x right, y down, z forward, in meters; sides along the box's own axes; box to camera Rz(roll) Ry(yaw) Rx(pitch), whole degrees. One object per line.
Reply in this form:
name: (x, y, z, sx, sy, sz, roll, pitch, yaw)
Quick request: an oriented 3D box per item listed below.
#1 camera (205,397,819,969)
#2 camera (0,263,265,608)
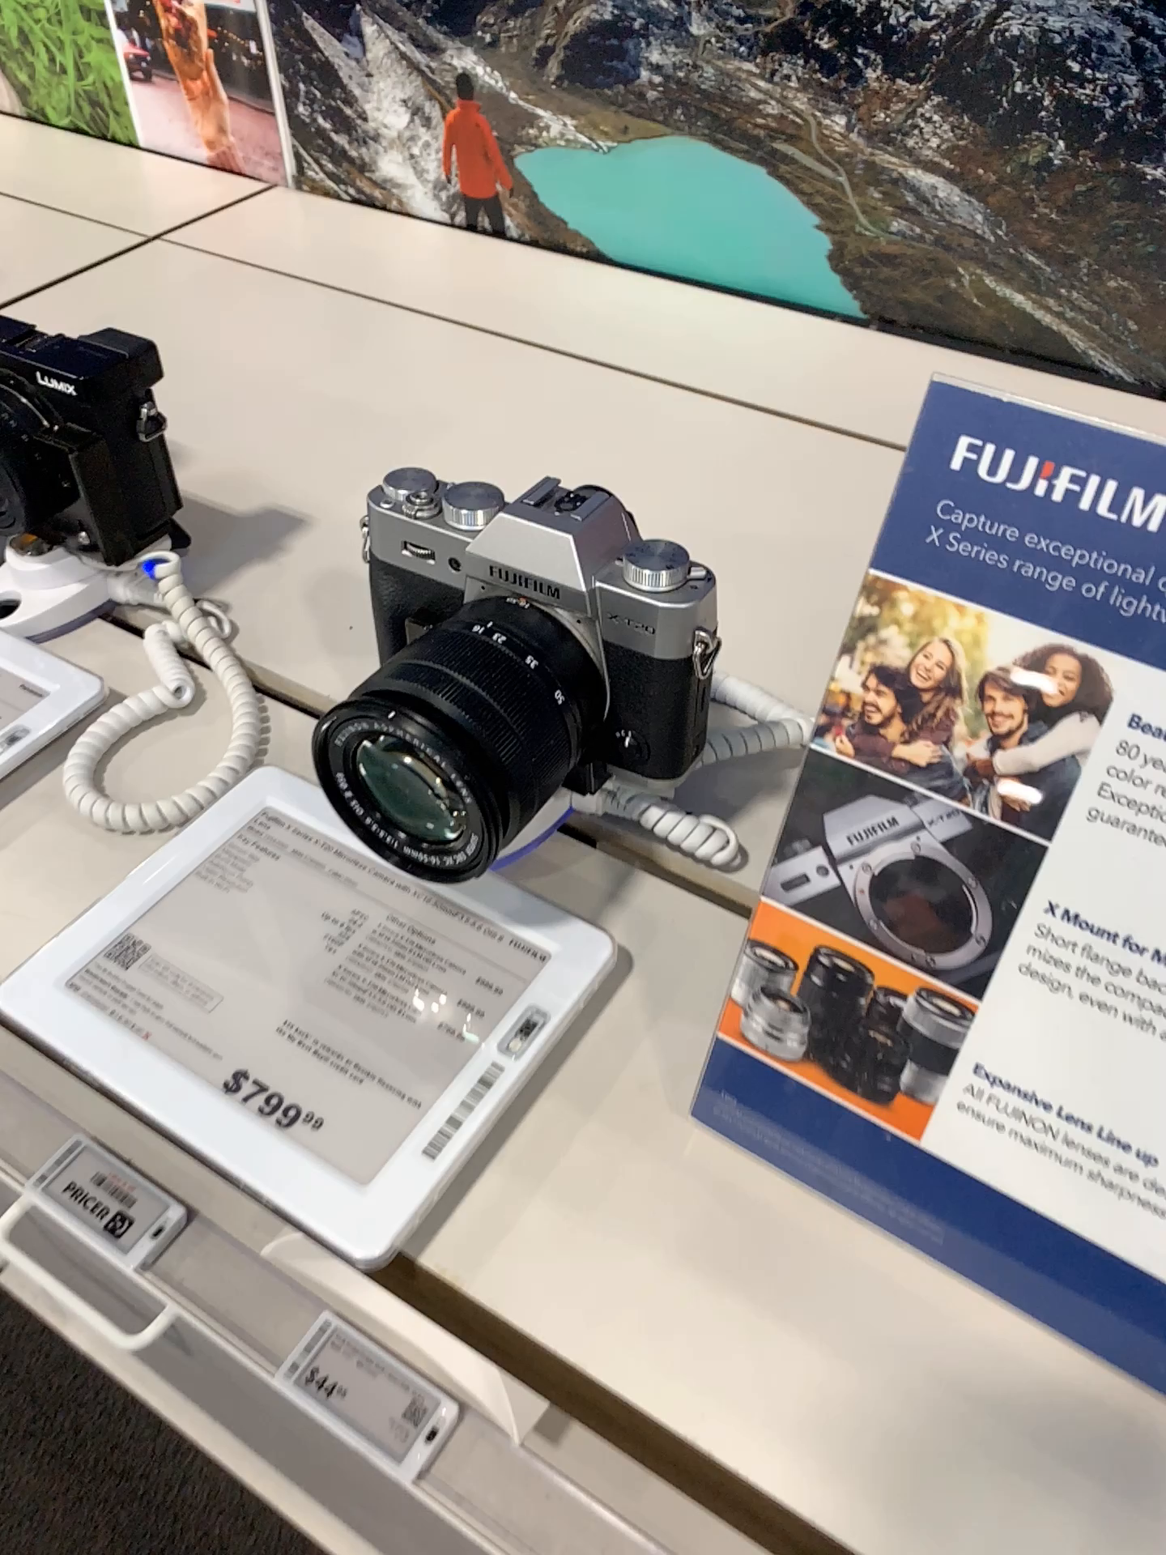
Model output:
camera: (-0.015, -0.035, 0.353, 0.120, 0.080, 0.120, 23, 50, 22)
camera: (-0.201, -0.136, 0.467, 0.120, 0.080, 0.070, 24, 51, 23)
